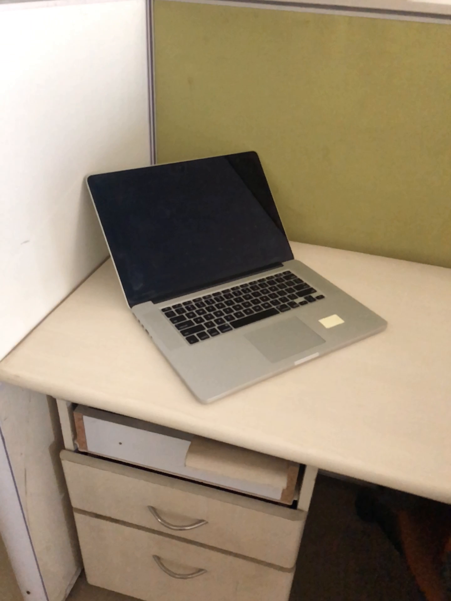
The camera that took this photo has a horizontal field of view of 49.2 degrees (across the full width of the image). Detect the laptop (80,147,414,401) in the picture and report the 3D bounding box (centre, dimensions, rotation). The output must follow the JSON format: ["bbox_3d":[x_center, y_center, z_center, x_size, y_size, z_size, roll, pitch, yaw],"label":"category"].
[{"bbox_3d":[0.011,-0.088,0.803,0.345,0.163,0.405,-17,40,-28],"label":"laptop"}]
